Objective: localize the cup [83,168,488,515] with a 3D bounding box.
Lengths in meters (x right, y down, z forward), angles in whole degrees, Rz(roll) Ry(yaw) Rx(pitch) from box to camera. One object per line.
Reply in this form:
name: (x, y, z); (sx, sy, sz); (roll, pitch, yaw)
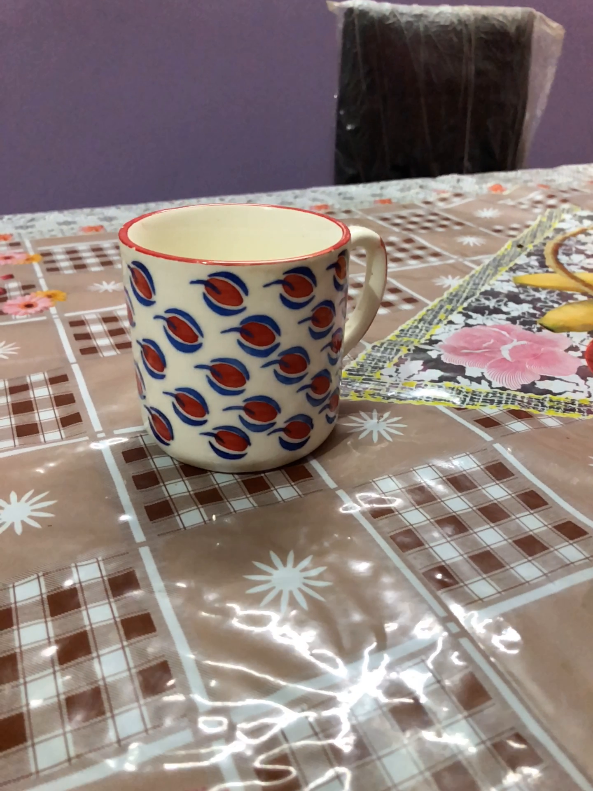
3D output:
cup: (-0.004, -0.030, 0.240); (0.110, 0.079, 0.080); (-20, 35, -34)
